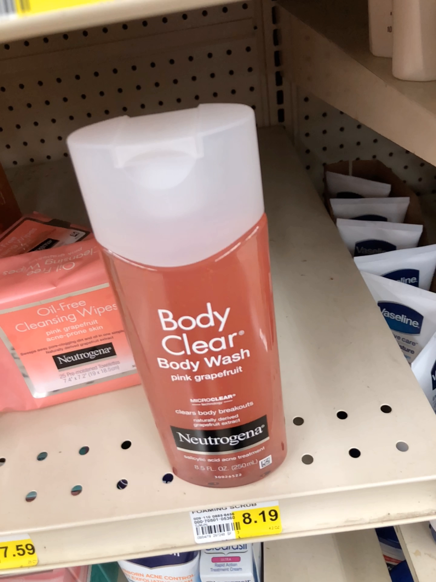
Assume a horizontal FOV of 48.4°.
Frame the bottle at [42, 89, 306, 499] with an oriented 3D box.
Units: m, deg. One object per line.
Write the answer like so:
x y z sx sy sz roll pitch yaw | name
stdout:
-0.003 0.022 0.205 0.070 0.189 0.030 -7 39 4 | bottle
